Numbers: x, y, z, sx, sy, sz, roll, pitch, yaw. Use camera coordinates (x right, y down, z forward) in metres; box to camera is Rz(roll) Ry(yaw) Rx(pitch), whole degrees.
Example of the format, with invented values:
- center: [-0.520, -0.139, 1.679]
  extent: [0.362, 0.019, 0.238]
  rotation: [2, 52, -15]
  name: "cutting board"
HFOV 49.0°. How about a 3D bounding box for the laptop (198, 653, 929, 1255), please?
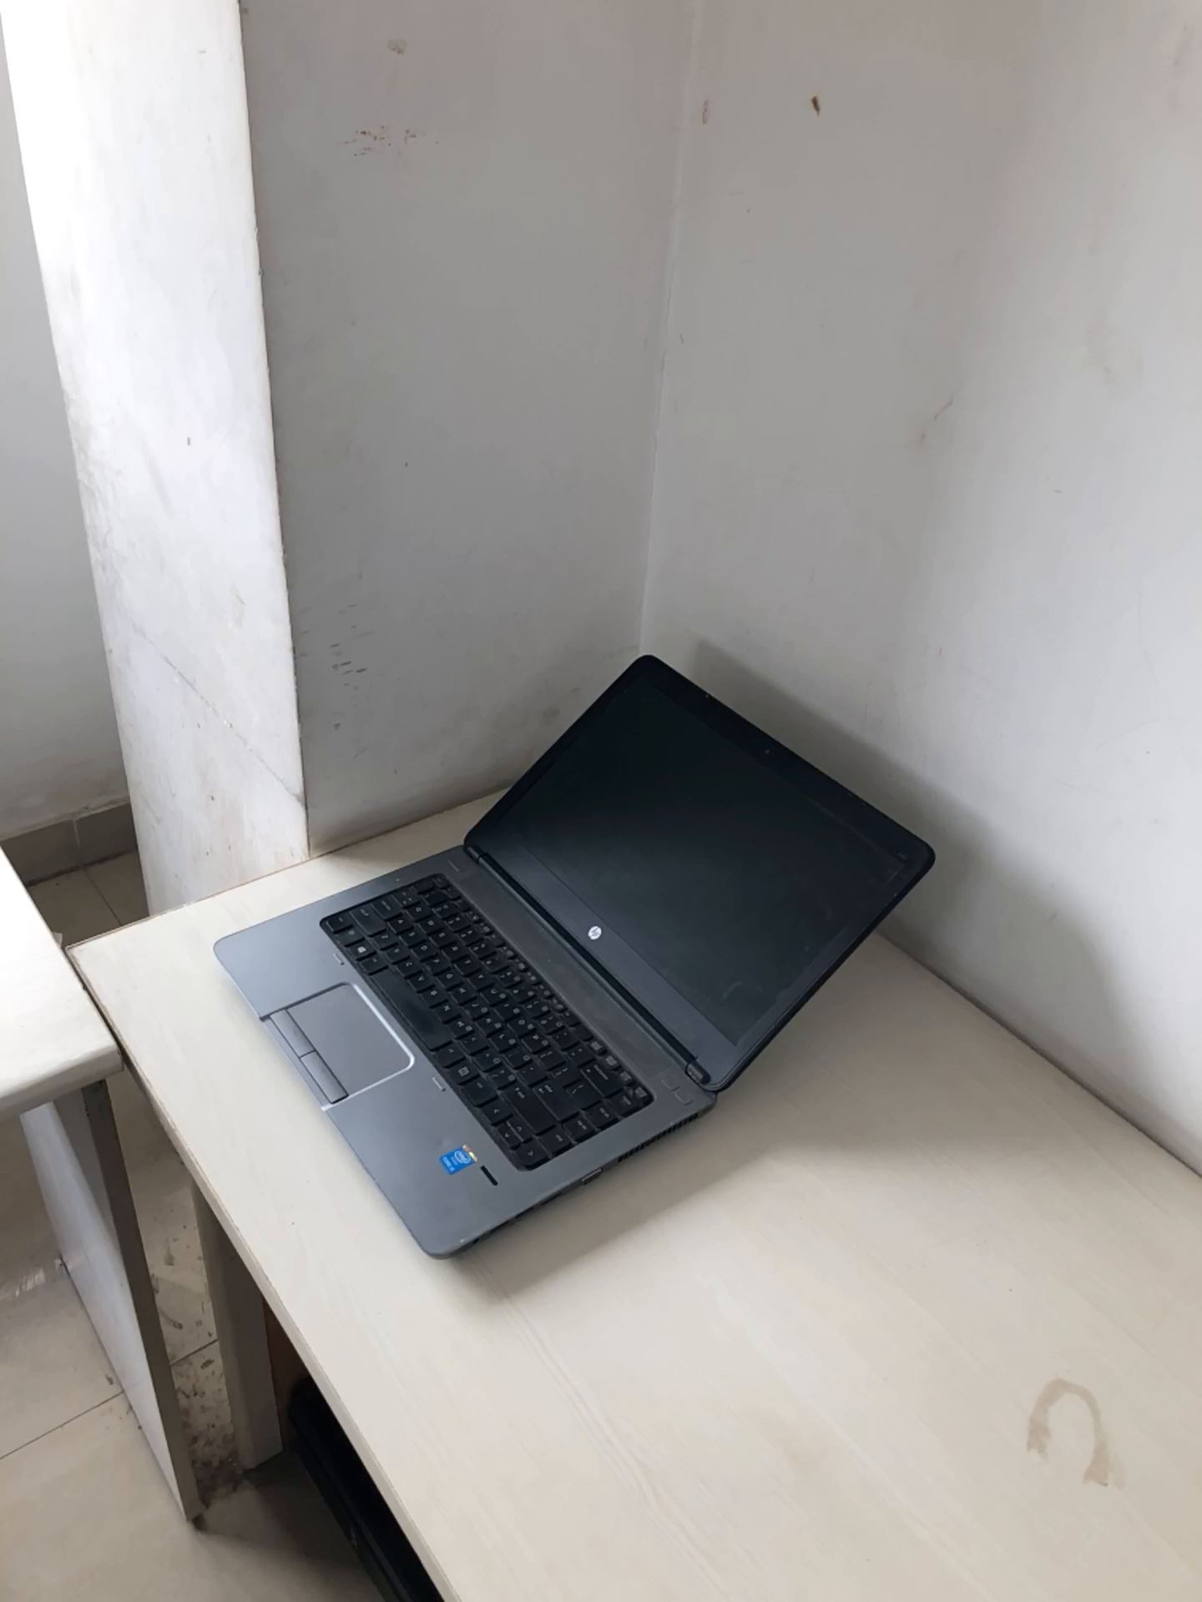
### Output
- center: [-0.031, 0.076, 0.982]
  extent: [0.406, 0.137, 0.328]
  rotation: [-21, 44, -30]
  name: "laptop"
